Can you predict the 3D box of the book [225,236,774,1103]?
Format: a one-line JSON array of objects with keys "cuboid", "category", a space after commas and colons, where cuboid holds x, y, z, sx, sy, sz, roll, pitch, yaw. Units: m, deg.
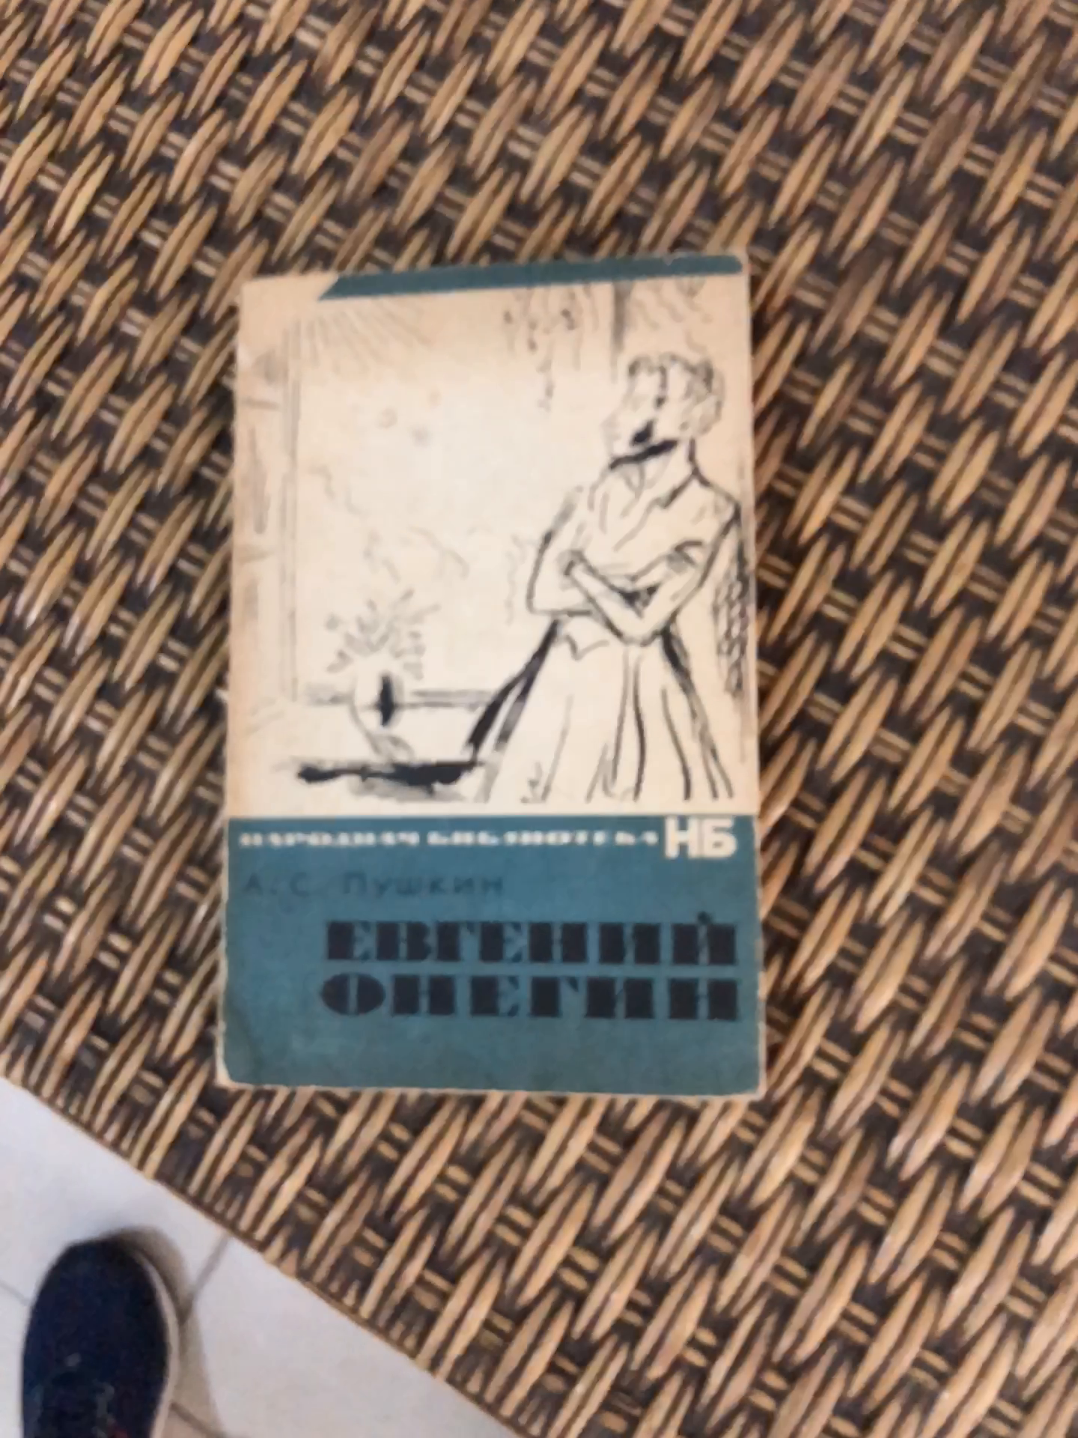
[{"cuboid": [-0.009, -0.013, 0.282, 0.120, 0.020, 0.190, -1, 84, 7], "category": "book"}]
